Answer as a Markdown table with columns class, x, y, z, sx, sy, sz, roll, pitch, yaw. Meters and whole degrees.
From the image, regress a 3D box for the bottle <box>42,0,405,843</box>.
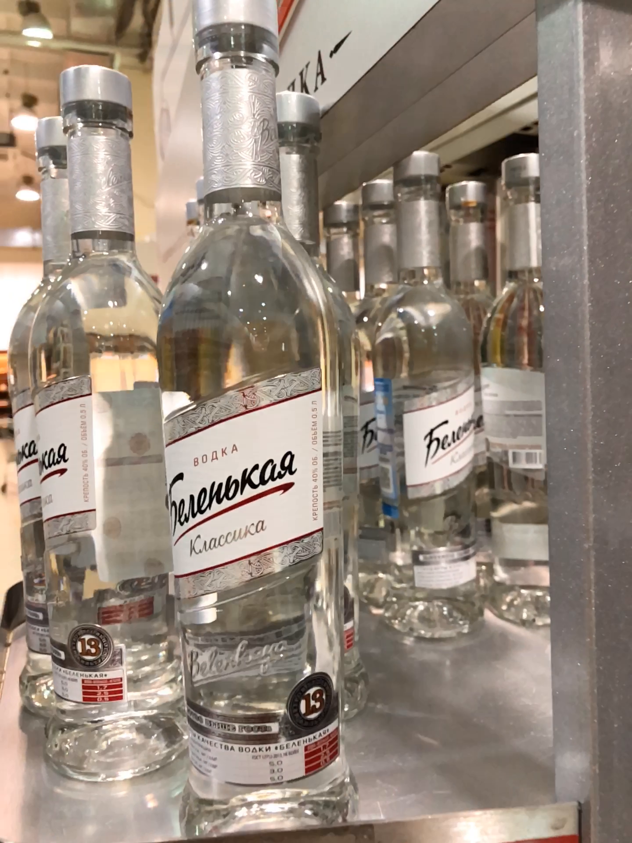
| class | x | y | z | sx | sy | sz | roll | pitch | yaw |
| --- | --- | --- | --- | --- | --- | --- | --- | --- | --- |
| bottle | -0.026 | -0.010 | 0.247 | 0.080 | 0.310 | 0.080 | -3 | 3 | 0 |
